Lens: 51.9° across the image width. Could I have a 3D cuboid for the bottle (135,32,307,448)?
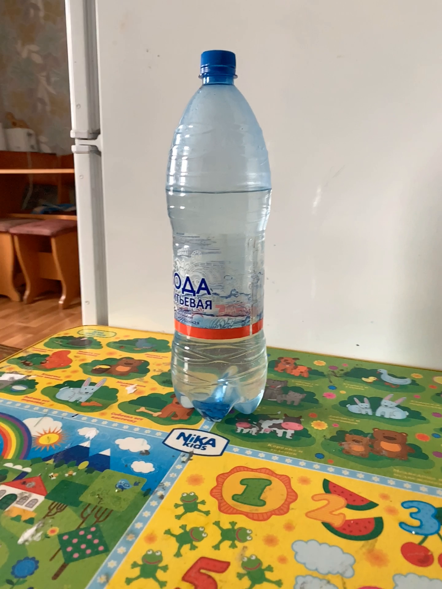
[{"bbox_3d":[0.001,-0.043,0.414,0.100,0.318,0.100,0,16,0],"label":"bottle"}]
